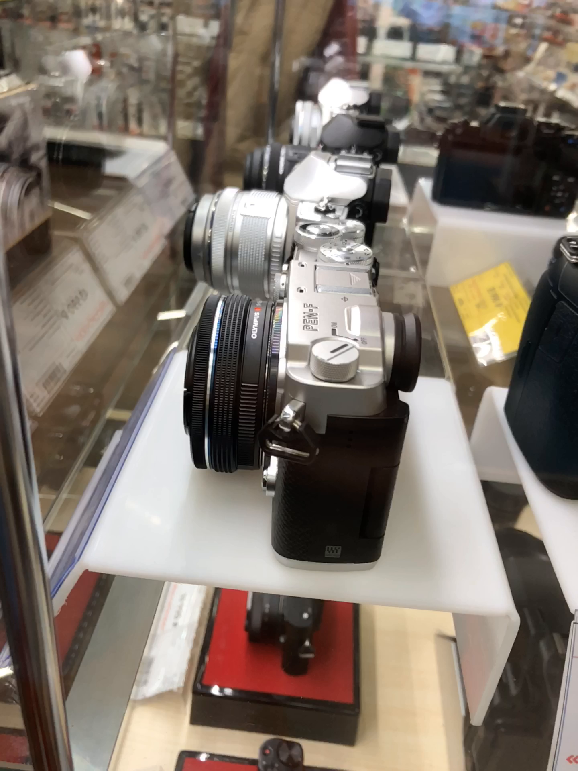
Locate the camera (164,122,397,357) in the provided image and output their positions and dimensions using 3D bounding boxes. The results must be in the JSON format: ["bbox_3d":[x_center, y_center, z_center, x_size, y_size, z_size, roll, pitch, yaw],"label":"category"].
[{"bbox_3d":[-0.002,-0.085,0.345,0.099,0.075,0.128,7,31,1],"label":"camera"}]

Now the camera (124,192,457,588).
[{"bbox_3d":[0.000,-0.010,0.220,0.076,0.070,0.128,6,31,0],"label":"camera"}]

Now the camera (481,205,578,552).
[{"bbox_3d":[0.148,-0.007,0.226,0.127,0.075,0.084,6,31,0],"label":"camera"}]
